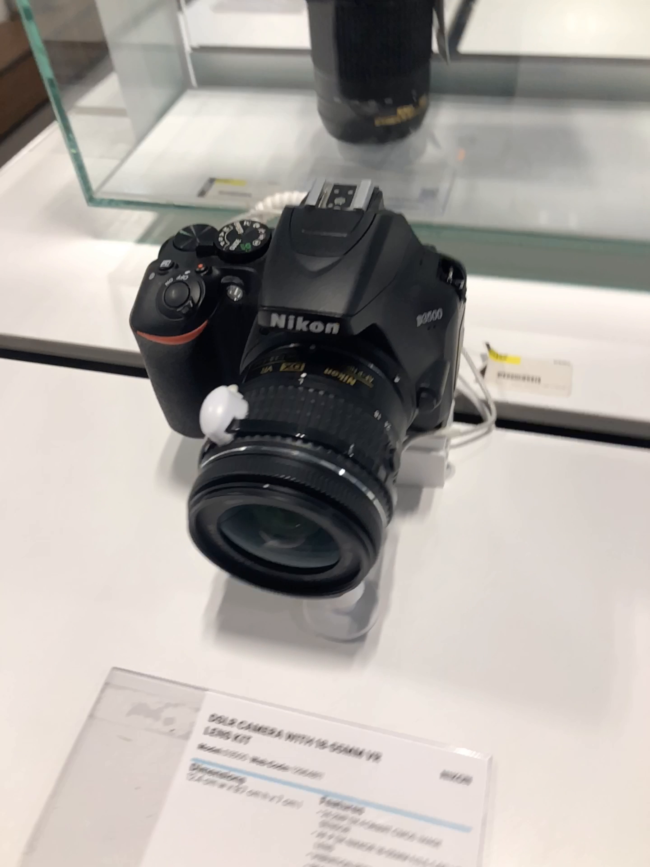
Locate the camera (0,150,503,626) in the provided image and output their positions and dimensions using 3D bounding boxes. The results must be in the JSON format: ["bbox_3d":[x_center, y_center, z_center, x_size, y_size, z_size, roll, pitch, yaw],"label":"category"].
[{"bbox_3d":[-0.013,-0.024,0.252,0.131,0.089,0.131,6,48,12],"label":"camera"}]
